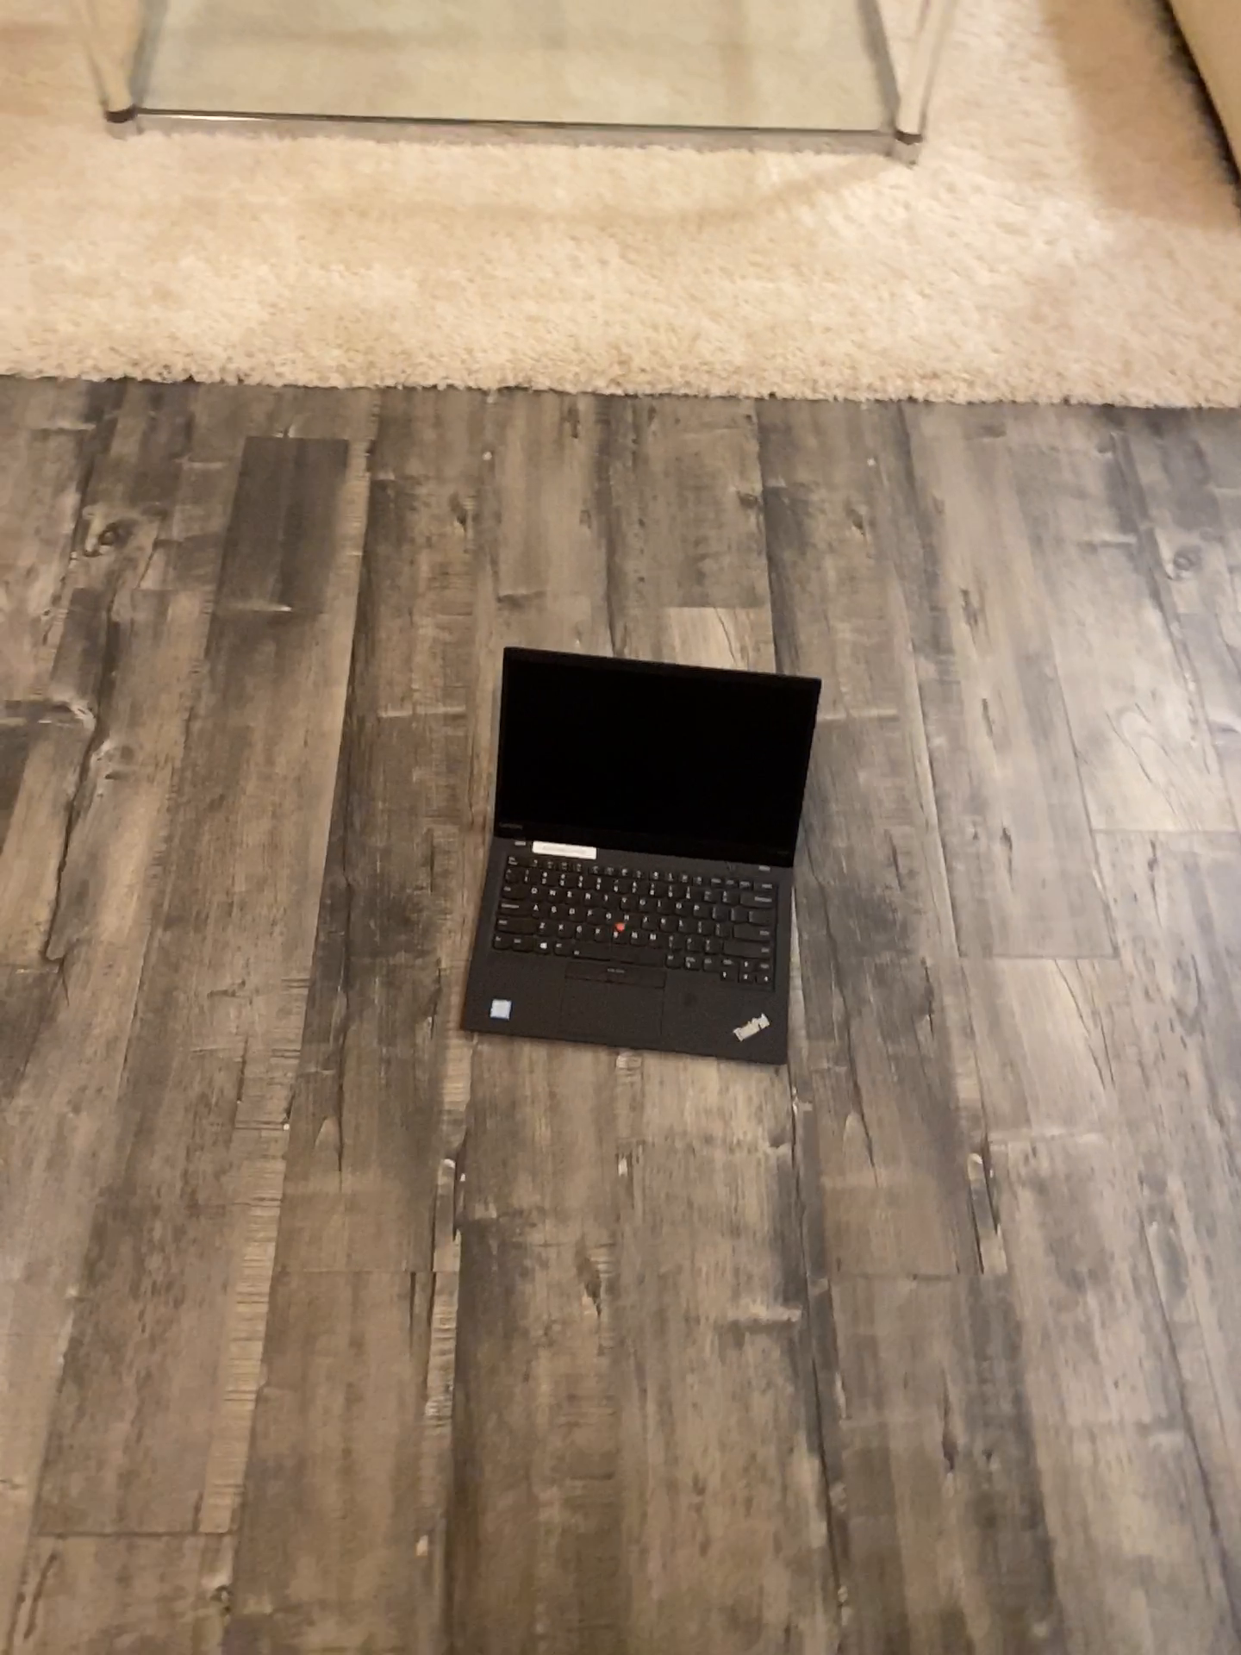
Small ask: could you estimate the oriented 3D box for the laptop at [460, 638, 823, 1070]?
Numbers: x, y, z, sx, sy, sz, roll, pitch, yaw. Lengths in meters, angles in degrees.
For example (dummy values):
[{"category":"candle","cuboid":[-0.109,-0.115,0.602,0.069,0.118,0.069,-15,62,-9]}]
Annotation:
[{"category":"laptop","cuboid":[0.028,0.024,1.251,0.319,0.149,0.356,6,63,0]}]
